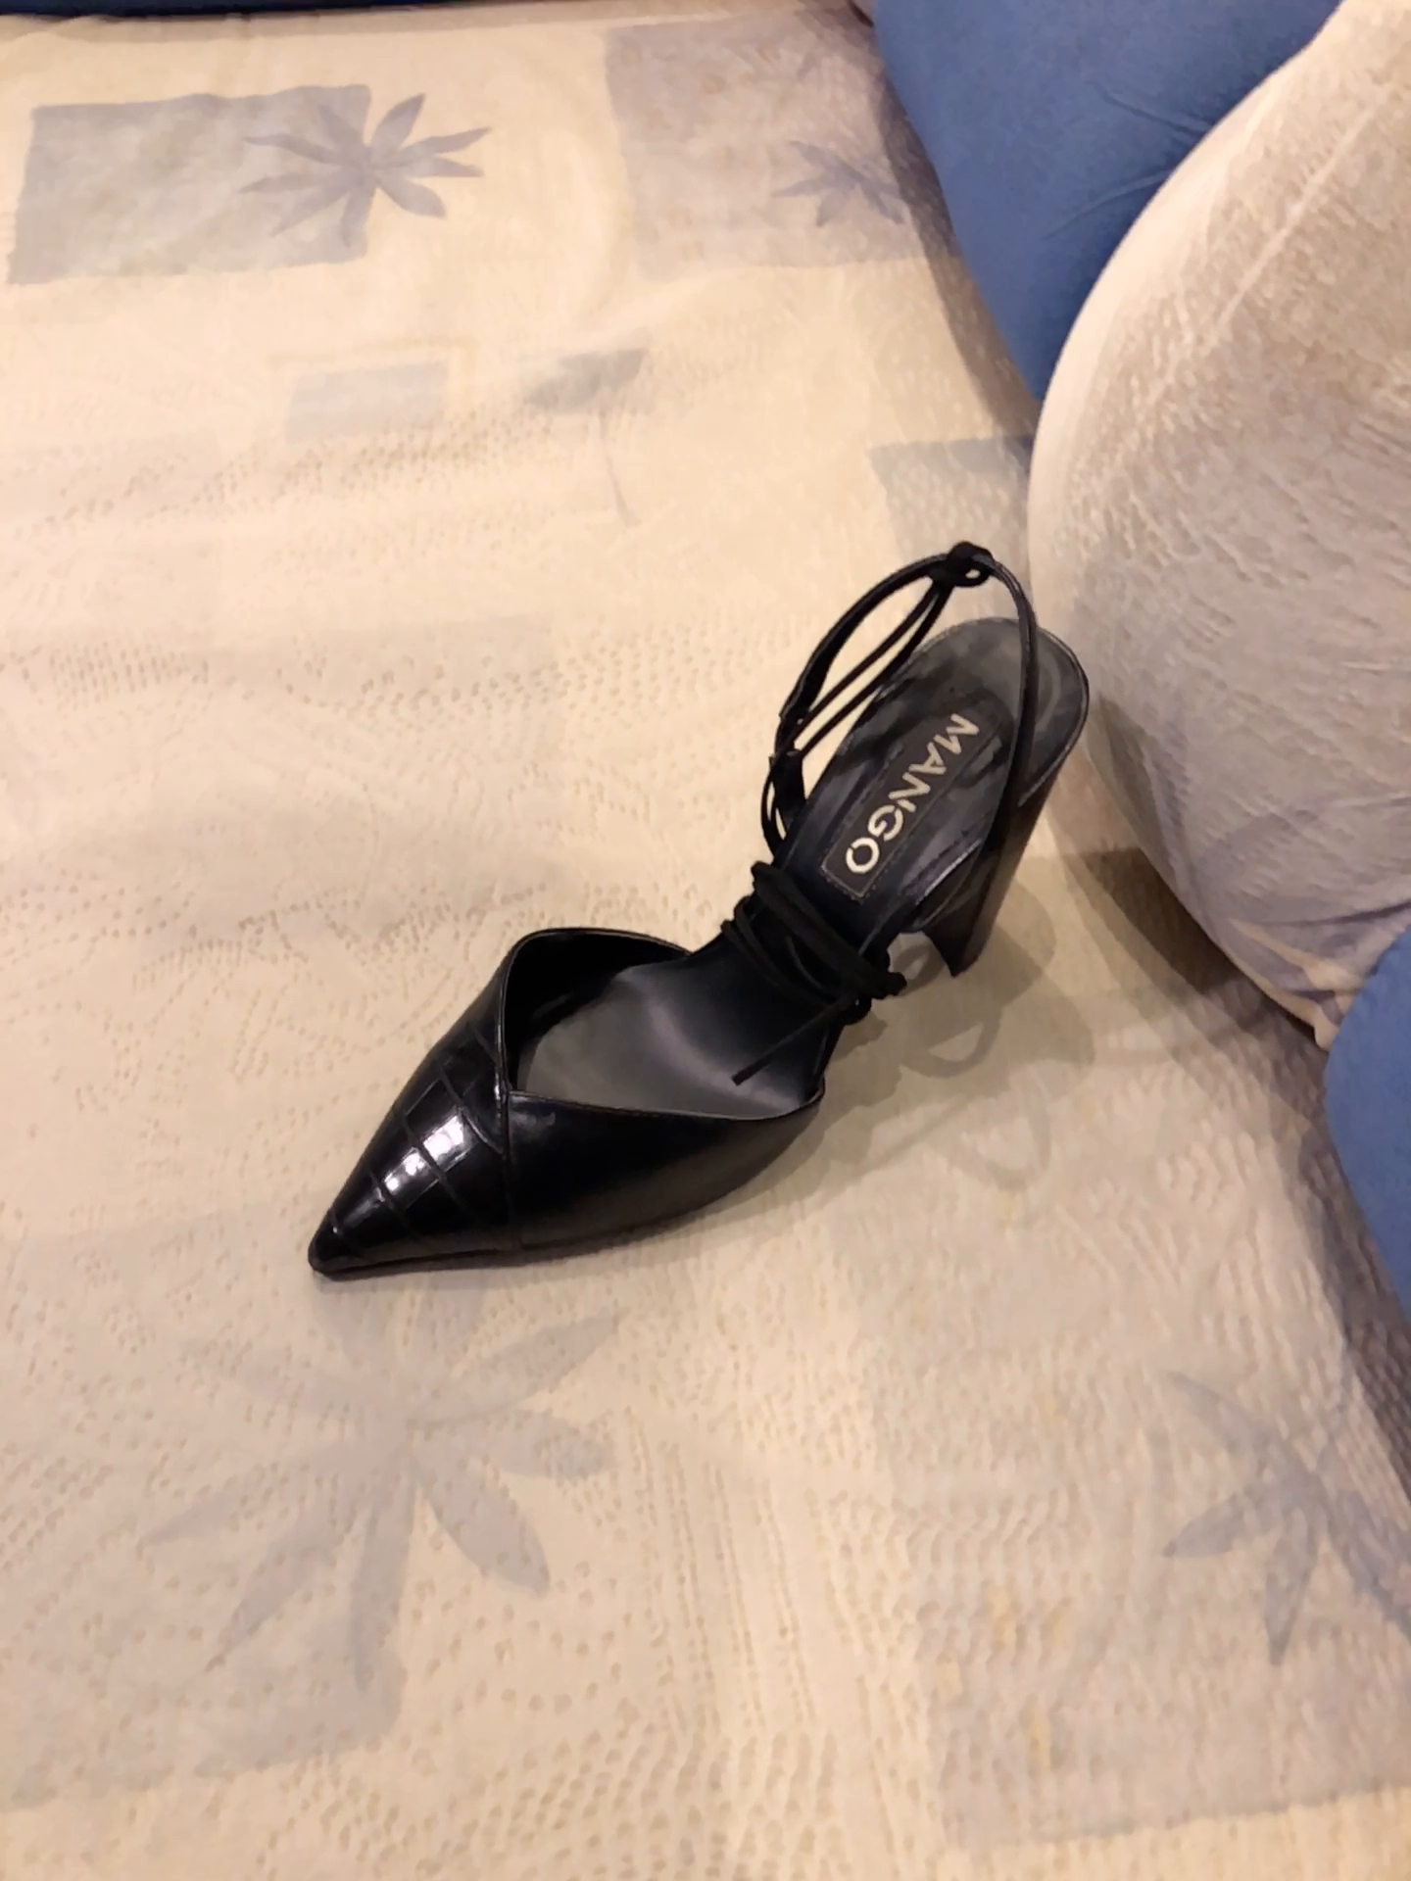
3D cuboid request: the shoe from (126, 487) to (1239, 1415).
[{"bbox_3d":[0.002,0.000,0.392,0.241,0.119,0.084,-29,60,-19],"label":"shoe"}]
